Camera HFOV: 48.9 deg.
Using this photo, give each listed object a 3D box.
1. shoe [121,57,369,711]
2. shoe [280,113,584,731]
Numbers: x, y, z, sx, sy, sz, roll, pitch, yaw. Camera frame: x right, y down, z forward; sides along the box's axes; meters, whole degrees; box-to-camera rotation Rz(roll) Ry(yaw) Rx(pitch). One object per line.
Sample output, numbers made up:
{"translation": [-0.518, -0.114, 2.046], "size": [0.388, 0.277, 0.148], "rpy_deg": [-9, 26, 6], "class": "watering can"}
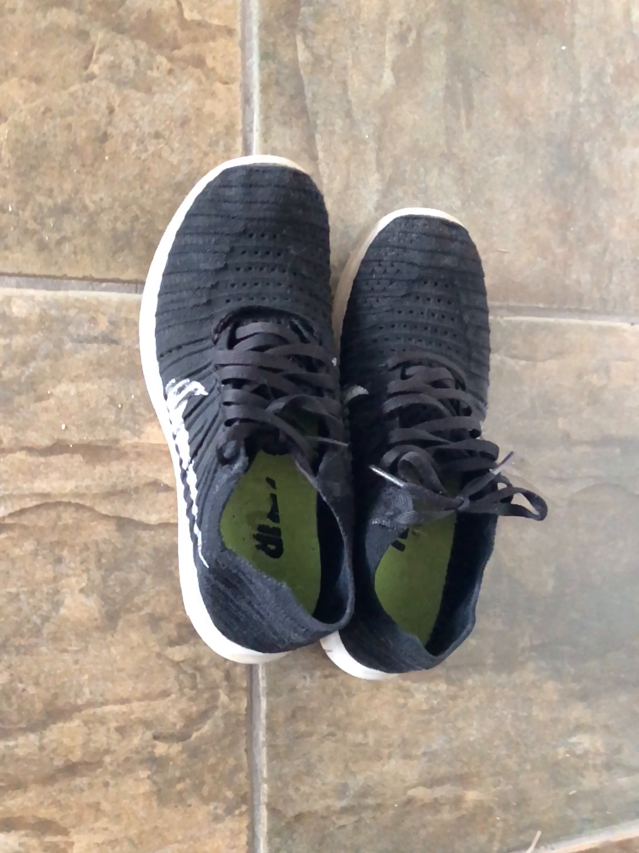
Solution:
{"translation": [-0.041, -0.017, 0.337], "size": [0.100, 0.090, 0.260], "rpy_deg": [1, 88, -18], "class": "shoe"}
{"translation": [0.052, 0.001, 0.352], "size": [0.100, 0.090, 0.260], "rpy_deg": [7, 86, -18], "class": "shoe"}
